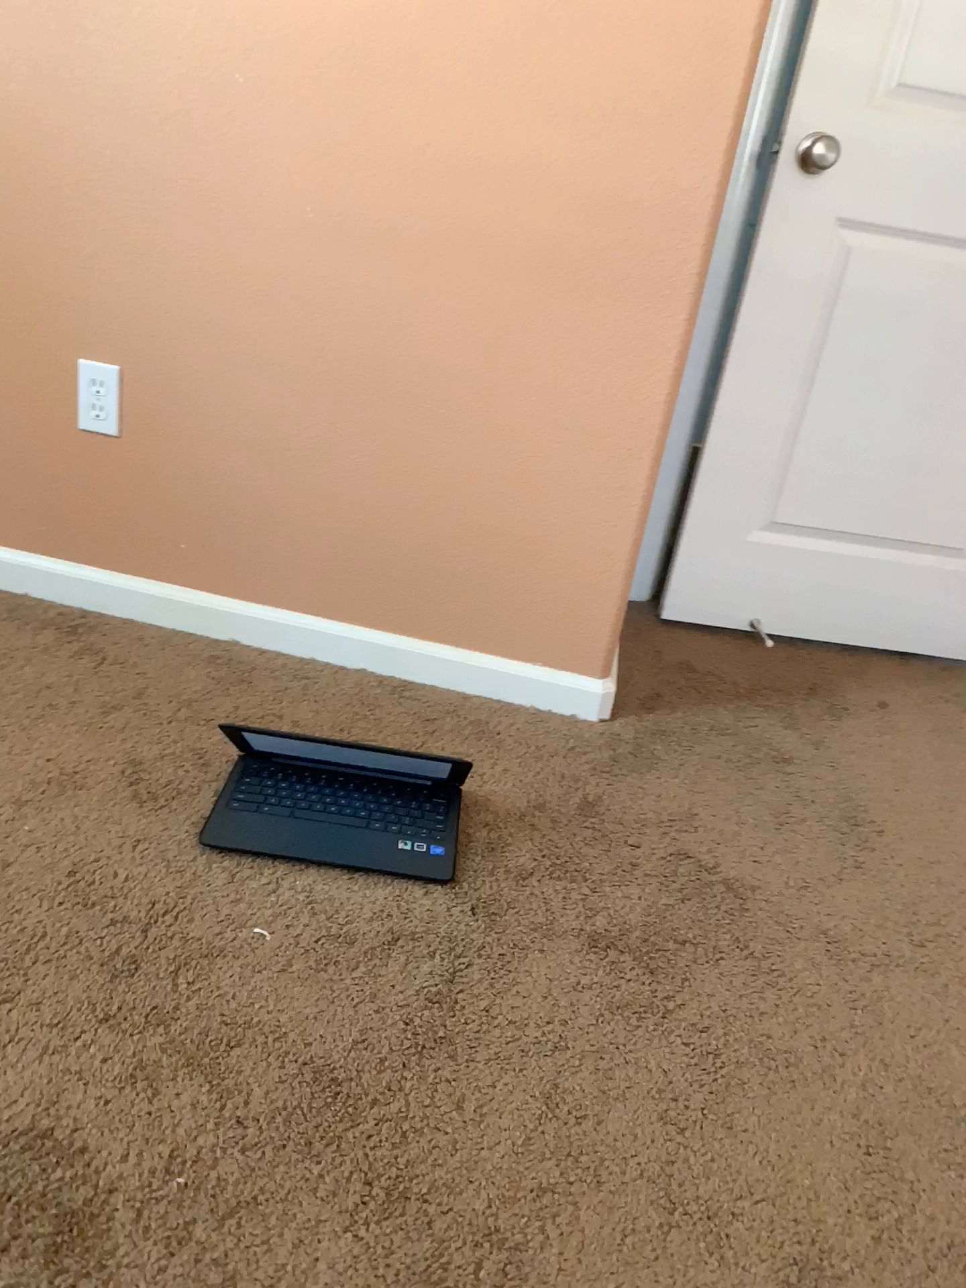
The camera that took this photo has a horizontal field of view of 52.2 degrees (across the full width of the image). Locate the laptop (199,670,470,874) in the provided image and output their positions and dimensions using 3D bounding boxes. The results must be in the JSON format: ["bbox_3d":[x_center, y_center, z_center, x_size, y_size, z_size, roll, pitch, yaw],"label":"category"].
[{"bbox_3d":[-0.172,0.150,1.206,0.289,0.127,0.196,9,22,-2],"label":"laptop"}]
